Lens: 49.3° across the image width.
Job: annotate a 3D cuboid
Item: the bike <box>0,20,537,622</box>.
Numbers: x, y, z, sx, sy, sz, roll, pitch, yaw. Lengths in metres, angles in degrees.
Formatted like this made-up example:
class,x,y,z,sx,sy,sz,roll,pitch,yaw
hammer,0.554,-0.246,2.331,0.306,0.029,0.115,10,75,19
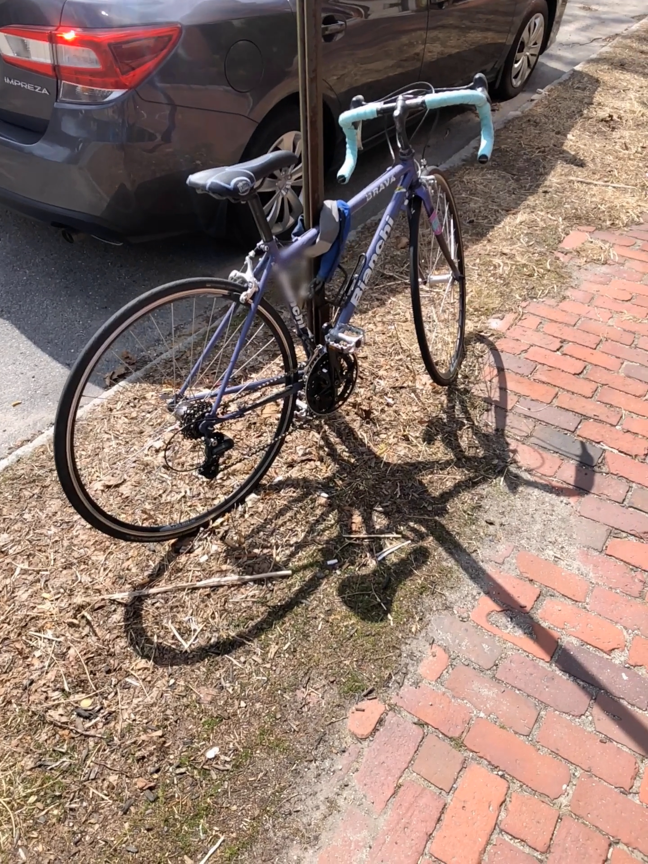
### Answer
class,x,y,z,sx,sy,sz,roll,pitch,yaw
bike,-0.088,-0.394,1.824,0.460,0.734,1.454,29,54,31
